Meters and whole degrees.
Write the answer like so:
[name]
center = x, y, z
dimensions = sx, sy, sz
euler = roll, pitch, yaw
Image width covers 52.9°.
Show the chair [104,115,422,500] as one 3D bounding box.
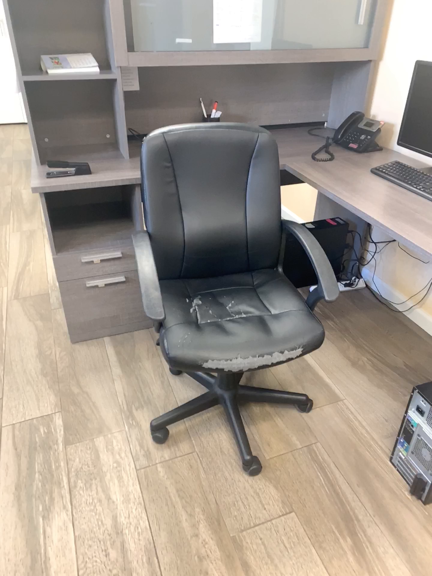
[chair]
center = 0.049, 0.025, 1.387
dimensions = 0.650, 0.944, 0.644
euler = -8, 33, -13
